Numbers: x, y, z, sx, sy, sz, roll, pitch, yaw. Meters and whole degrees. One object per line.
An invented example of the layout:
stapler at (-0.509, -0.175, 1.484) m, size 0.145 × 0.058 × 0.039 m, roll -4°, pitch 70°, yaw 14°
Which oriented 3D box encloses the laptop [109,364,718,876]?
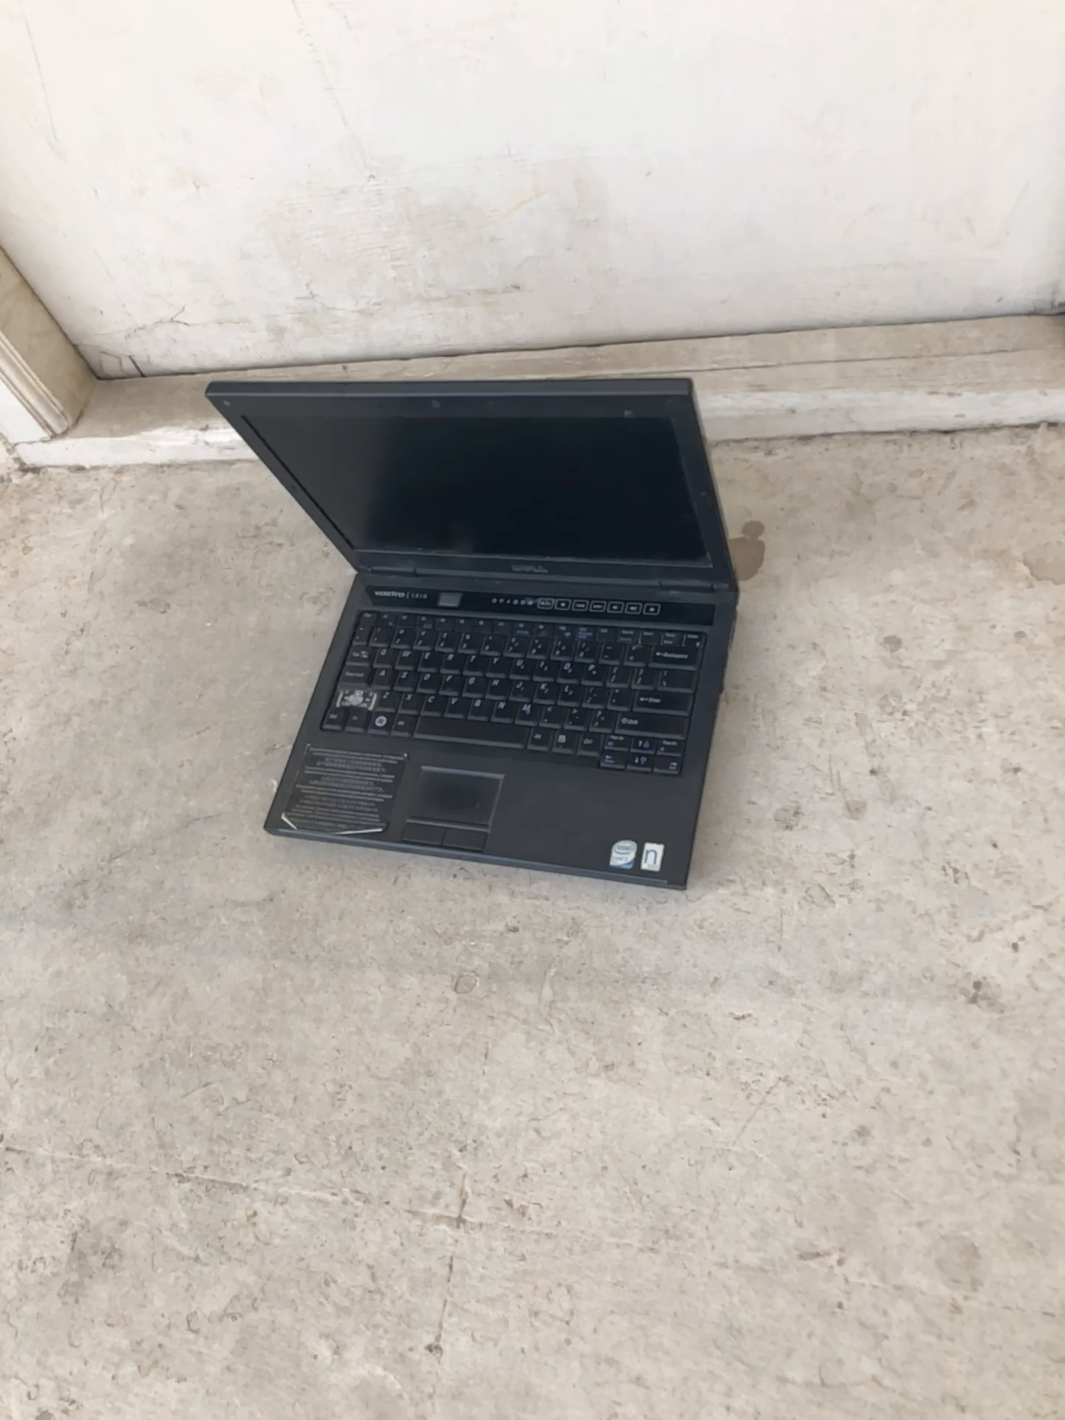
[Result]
laptop at (-0.054, -0.055, 0.747) m, size 0.293 × 0.219 × 0.214 m, roll 5°, pitch 63°, yaw 20°
